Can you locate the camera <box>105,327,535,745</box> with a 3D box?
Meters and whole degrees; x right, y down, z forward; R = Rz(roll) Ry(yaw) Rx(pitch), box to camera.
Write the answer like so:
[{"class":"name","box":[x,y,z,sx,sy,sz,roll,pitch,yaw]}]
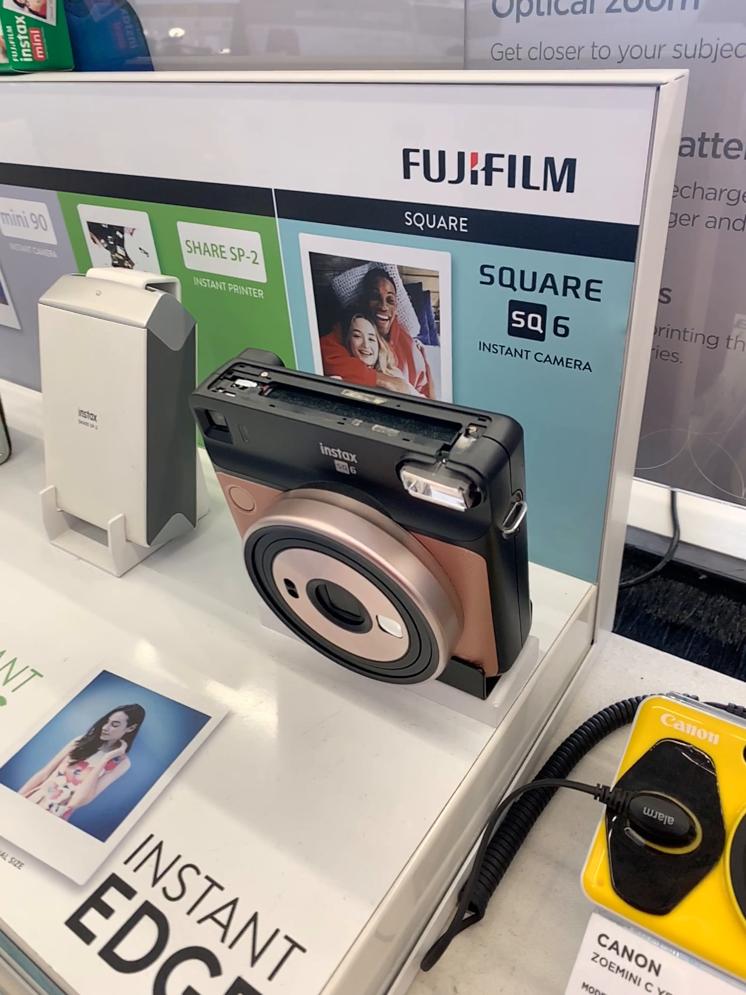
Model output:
[{"class":"camera","box":[-0.012,0.013,0.291,0.130,0.119,0.060,16,49,27]}]
